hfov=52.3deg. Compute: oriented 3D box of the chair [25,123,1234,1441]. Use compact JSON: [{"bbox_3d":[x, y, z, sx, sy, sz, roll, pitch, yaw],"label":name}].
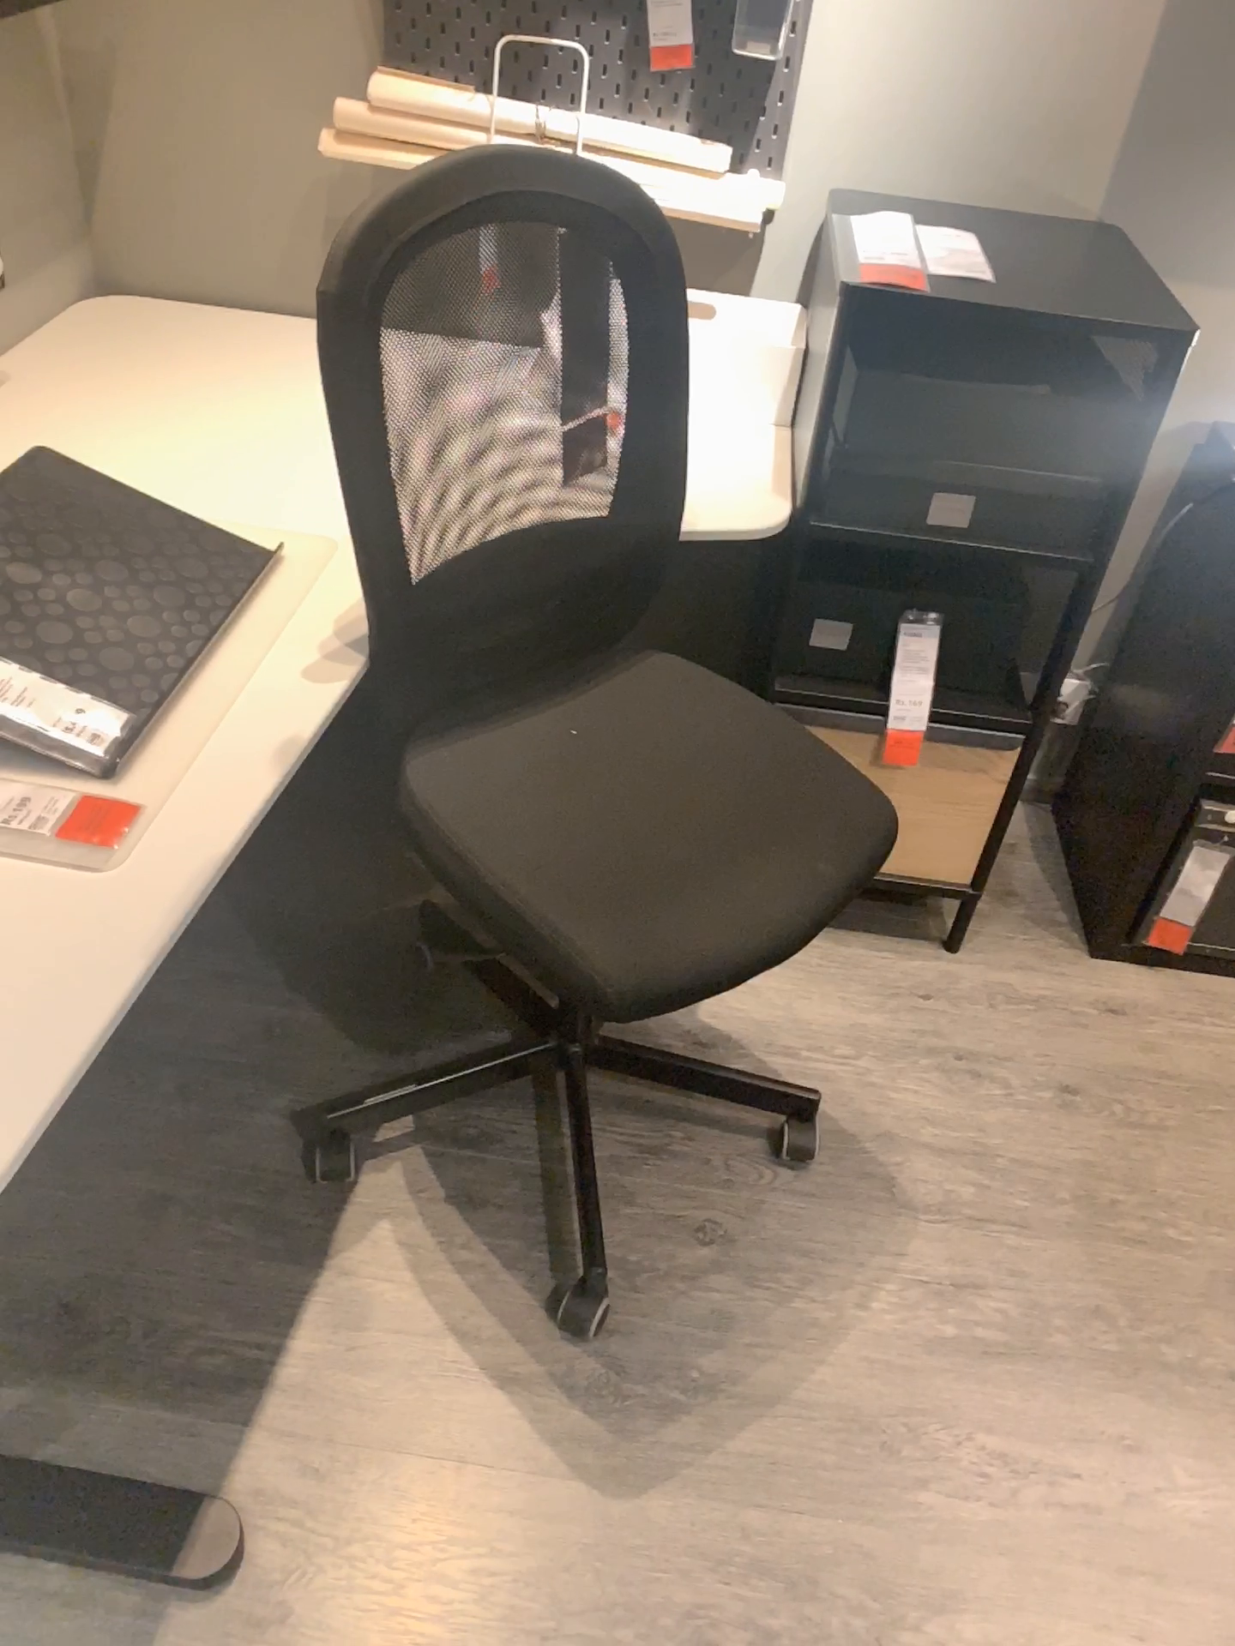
[{"bbox_3d":[-0.031,-0.077,1.327,0.691,0.996,0.711,-27,50,-34],"label":"chair"}]
